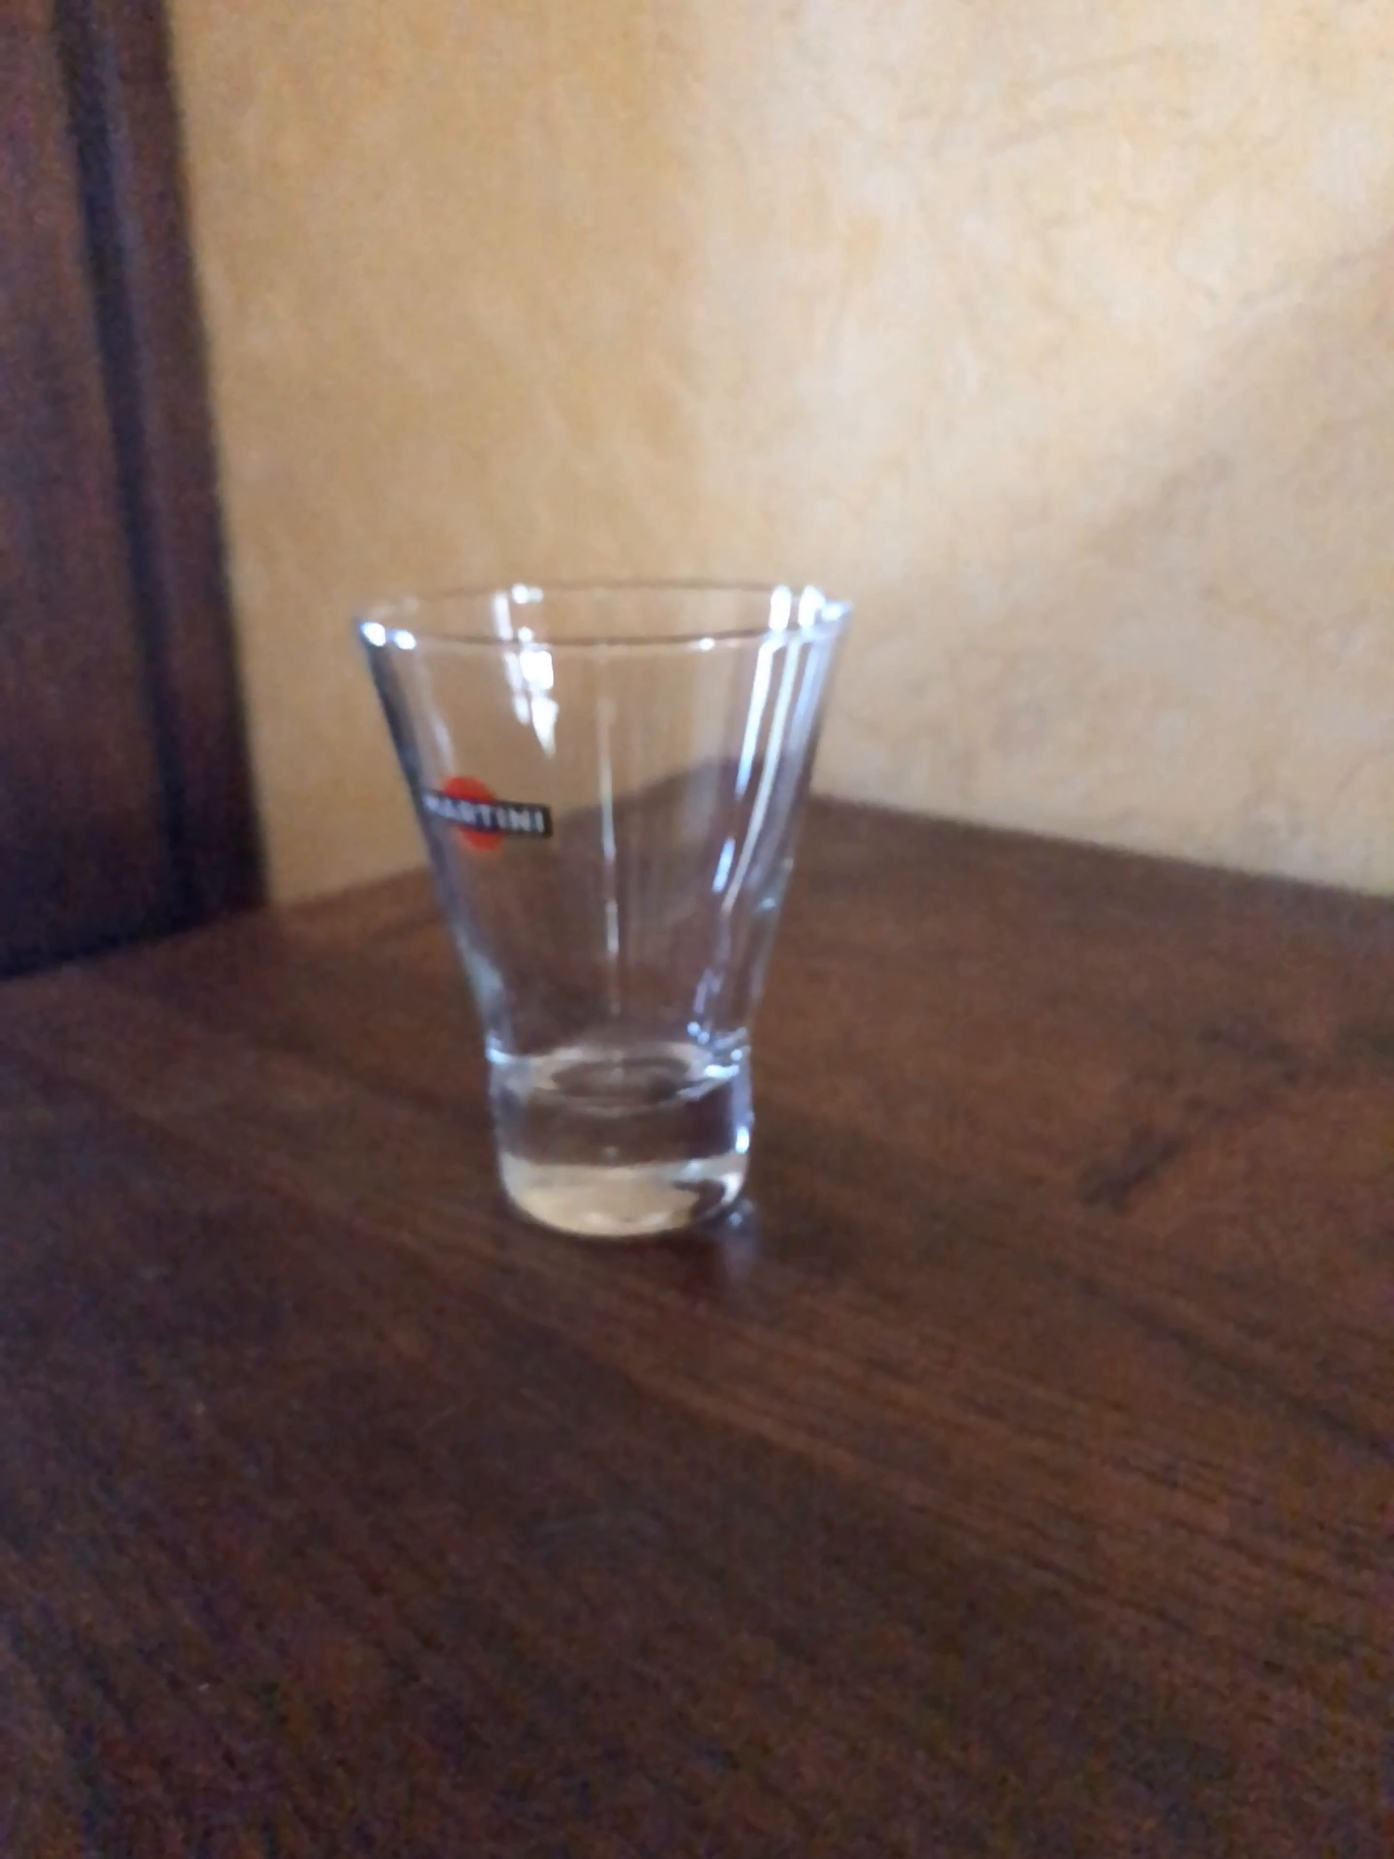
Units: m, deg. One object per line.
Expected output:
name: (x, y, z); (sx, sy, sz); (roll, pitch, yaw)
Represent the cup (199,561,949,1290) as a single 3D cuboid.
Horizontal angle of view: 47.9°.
cup: (-0.016, -0.012, 0.292); (0.090, 0.100, 0.101); (10, 21, 31)
